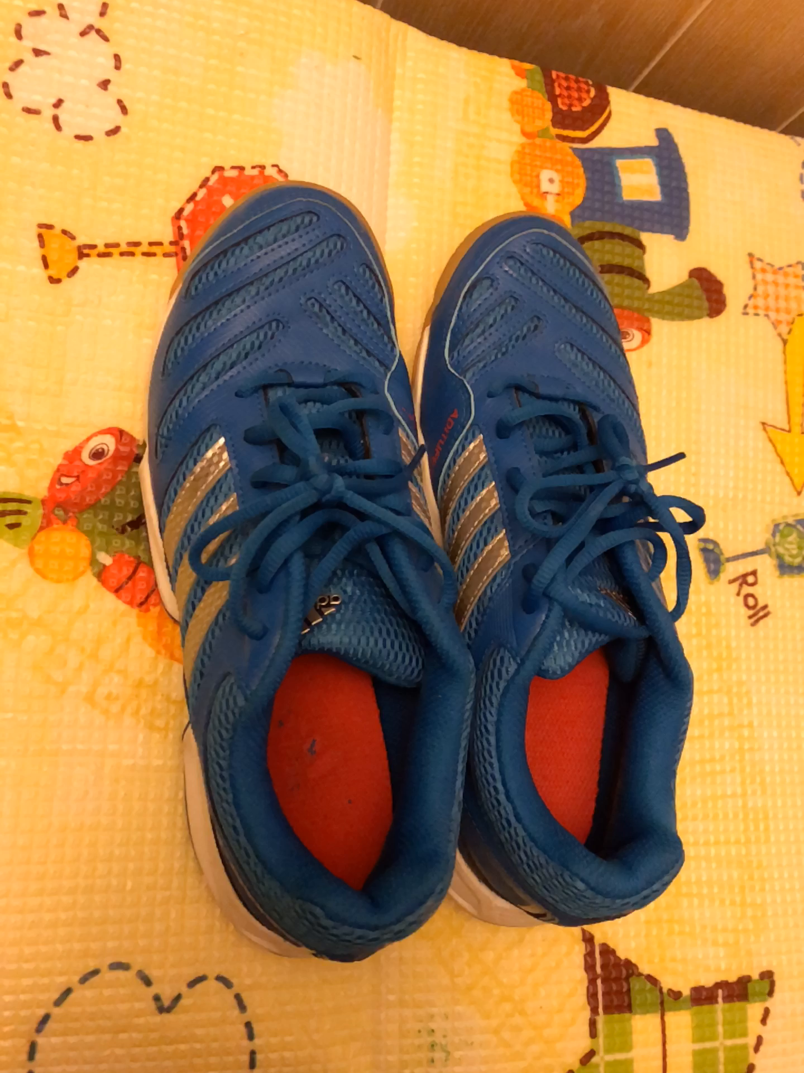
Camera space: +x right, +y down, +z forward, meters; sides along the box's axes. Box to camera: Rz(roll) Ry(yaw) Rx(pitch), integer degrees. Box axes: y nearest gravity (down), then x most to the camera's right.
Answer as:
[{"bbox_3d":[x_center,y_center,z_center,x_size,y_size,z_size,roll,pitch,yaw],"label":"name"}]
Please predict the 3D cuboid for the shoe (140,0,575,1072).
[{"bbox_3d":[-0.030,-0.007,0.309,0.110,0.140,0.290,1,81,-17],"label":"shoe"}]

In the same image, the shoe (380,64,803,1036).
[{"bbox_3d":[0.062,0.002,0.335,0.110,0.120,0.290,2,81,-17],"label":"shoe"}]
